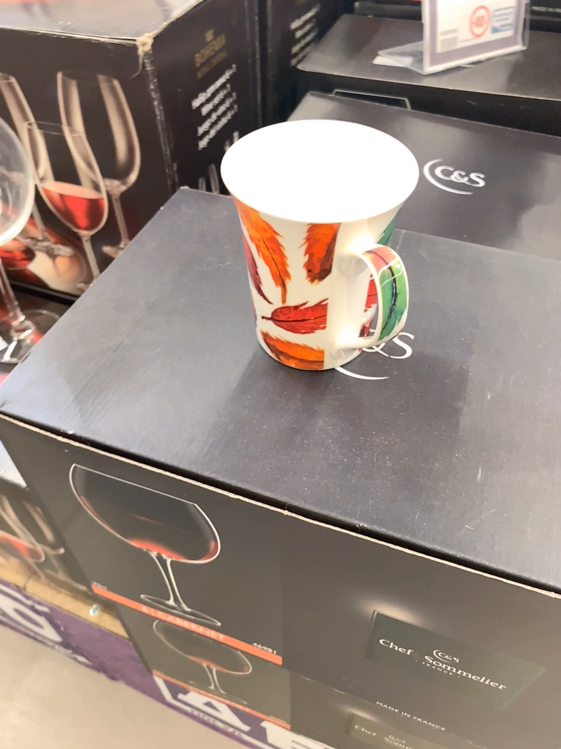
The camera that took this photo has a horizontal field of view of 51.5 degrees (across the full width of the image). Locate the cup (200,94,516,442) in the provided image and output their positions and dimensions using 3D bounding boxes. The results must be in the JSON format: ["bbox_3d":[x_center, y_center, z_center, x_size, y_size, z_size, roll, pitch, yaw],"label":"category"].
[{"bbox_3d":[0.026,-0.056,0.283,0.090,0.100,0.120,-16,49,-14],"label":"cup"}]
